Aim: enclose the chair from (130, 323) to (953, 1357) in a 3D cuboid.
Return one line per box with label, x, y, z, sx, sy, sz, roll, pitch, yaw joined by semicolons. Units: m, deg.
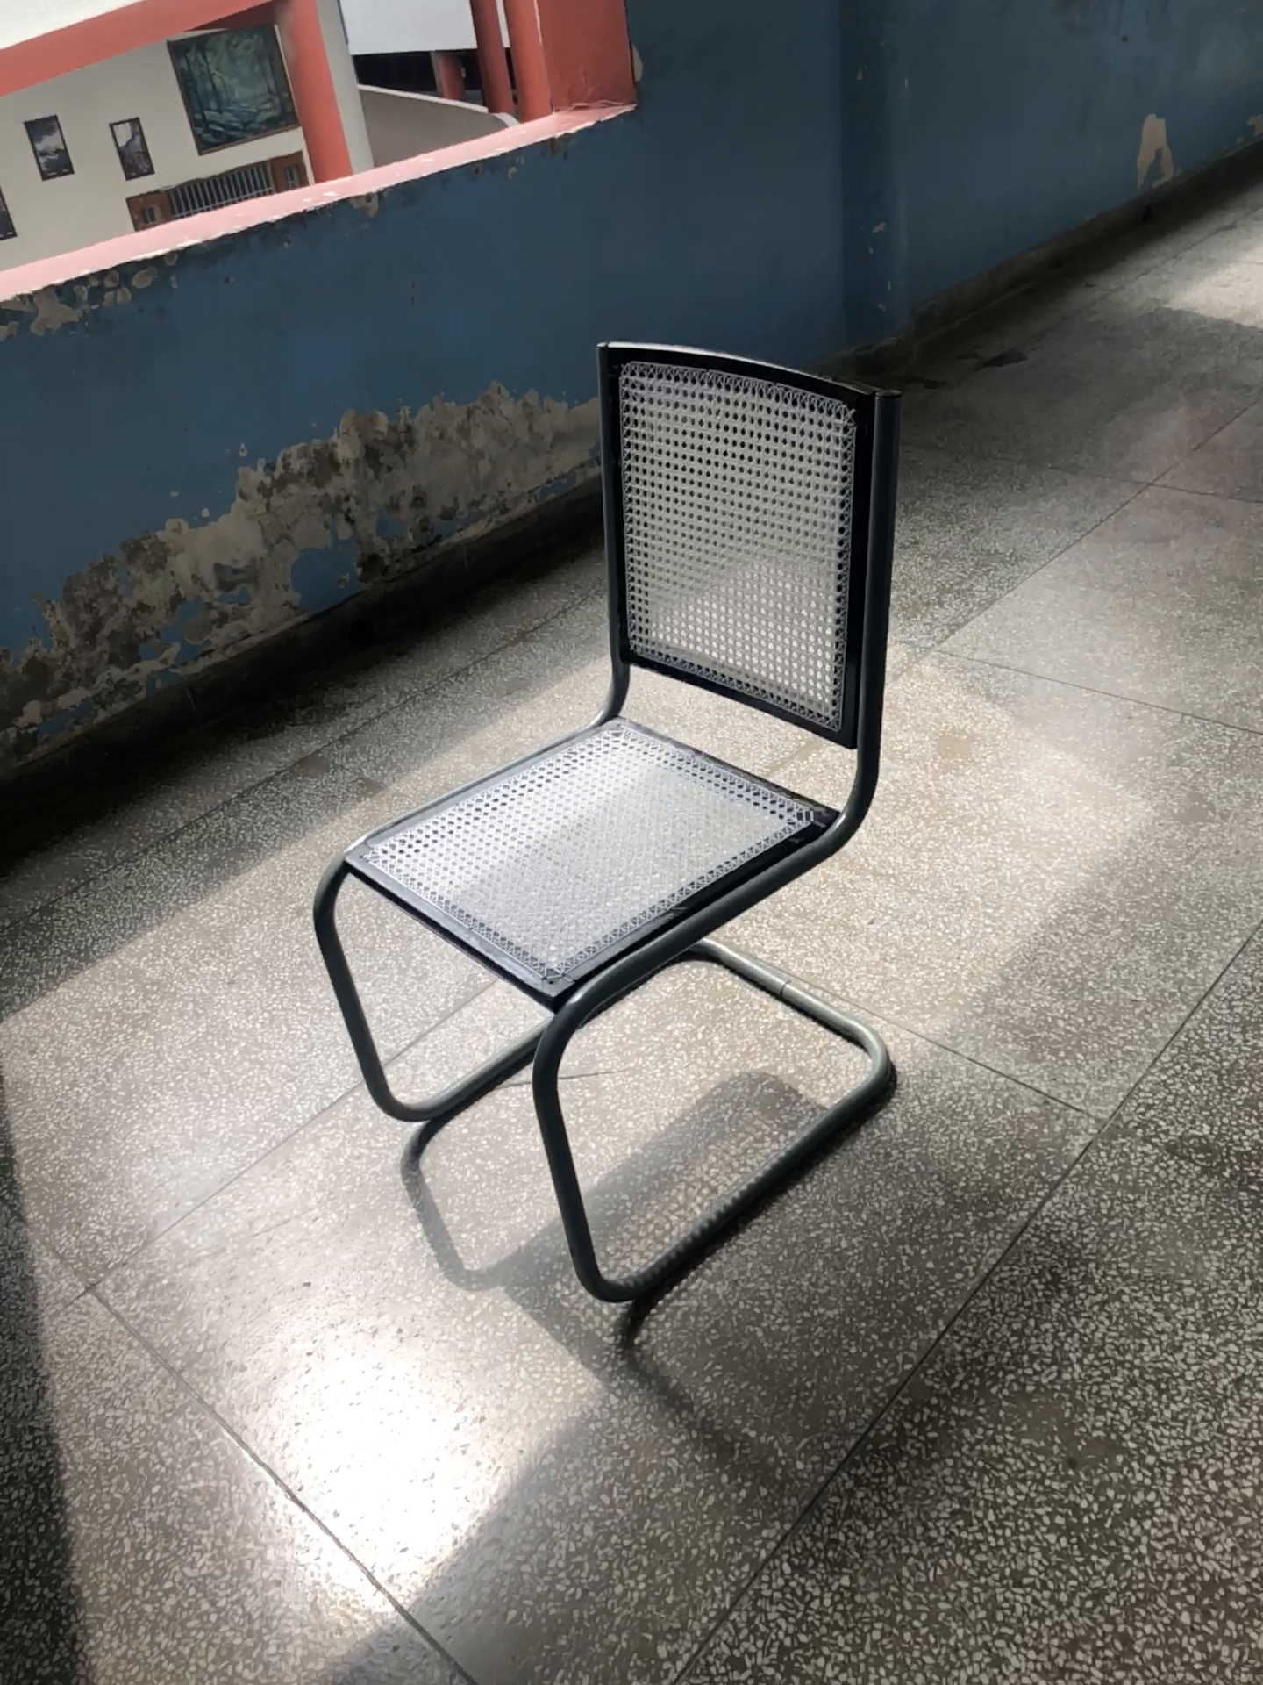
chair;-0.035;-0.031;1.485;0.571;0.817;0.492;-32;41;-30
